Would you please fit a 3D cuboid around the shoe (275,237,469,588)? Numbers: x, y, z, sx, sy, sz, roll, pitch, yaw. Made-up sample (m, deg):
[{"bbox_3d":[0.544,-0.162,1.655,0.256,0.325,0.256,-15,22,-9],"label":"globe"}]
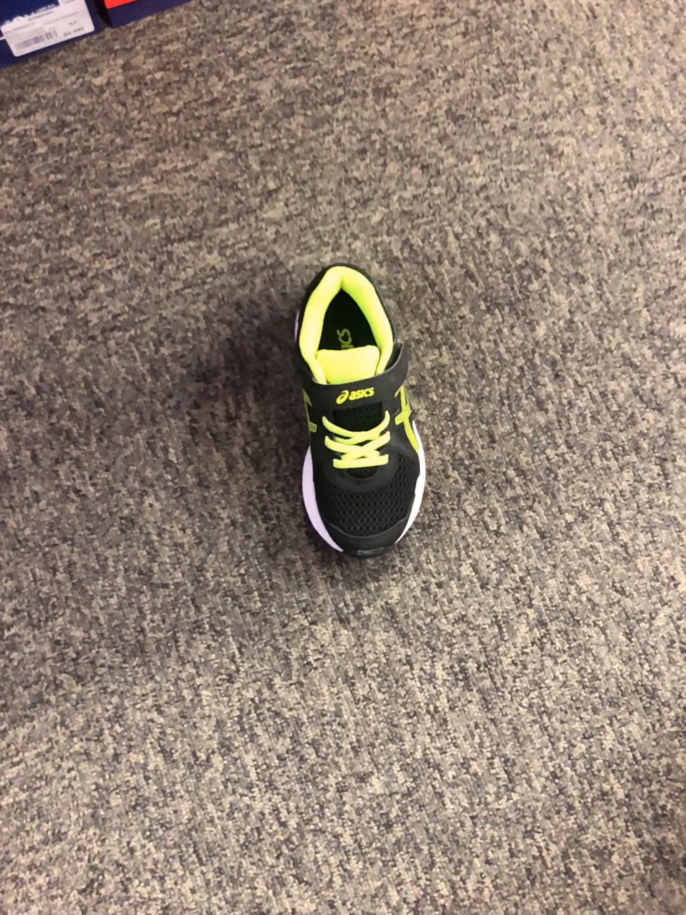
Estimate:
[{"bbox_3d":[0.014,-0.024,0.478,0.090,0.080,0.200,-6,80,-3],"label":"shoe"}]
